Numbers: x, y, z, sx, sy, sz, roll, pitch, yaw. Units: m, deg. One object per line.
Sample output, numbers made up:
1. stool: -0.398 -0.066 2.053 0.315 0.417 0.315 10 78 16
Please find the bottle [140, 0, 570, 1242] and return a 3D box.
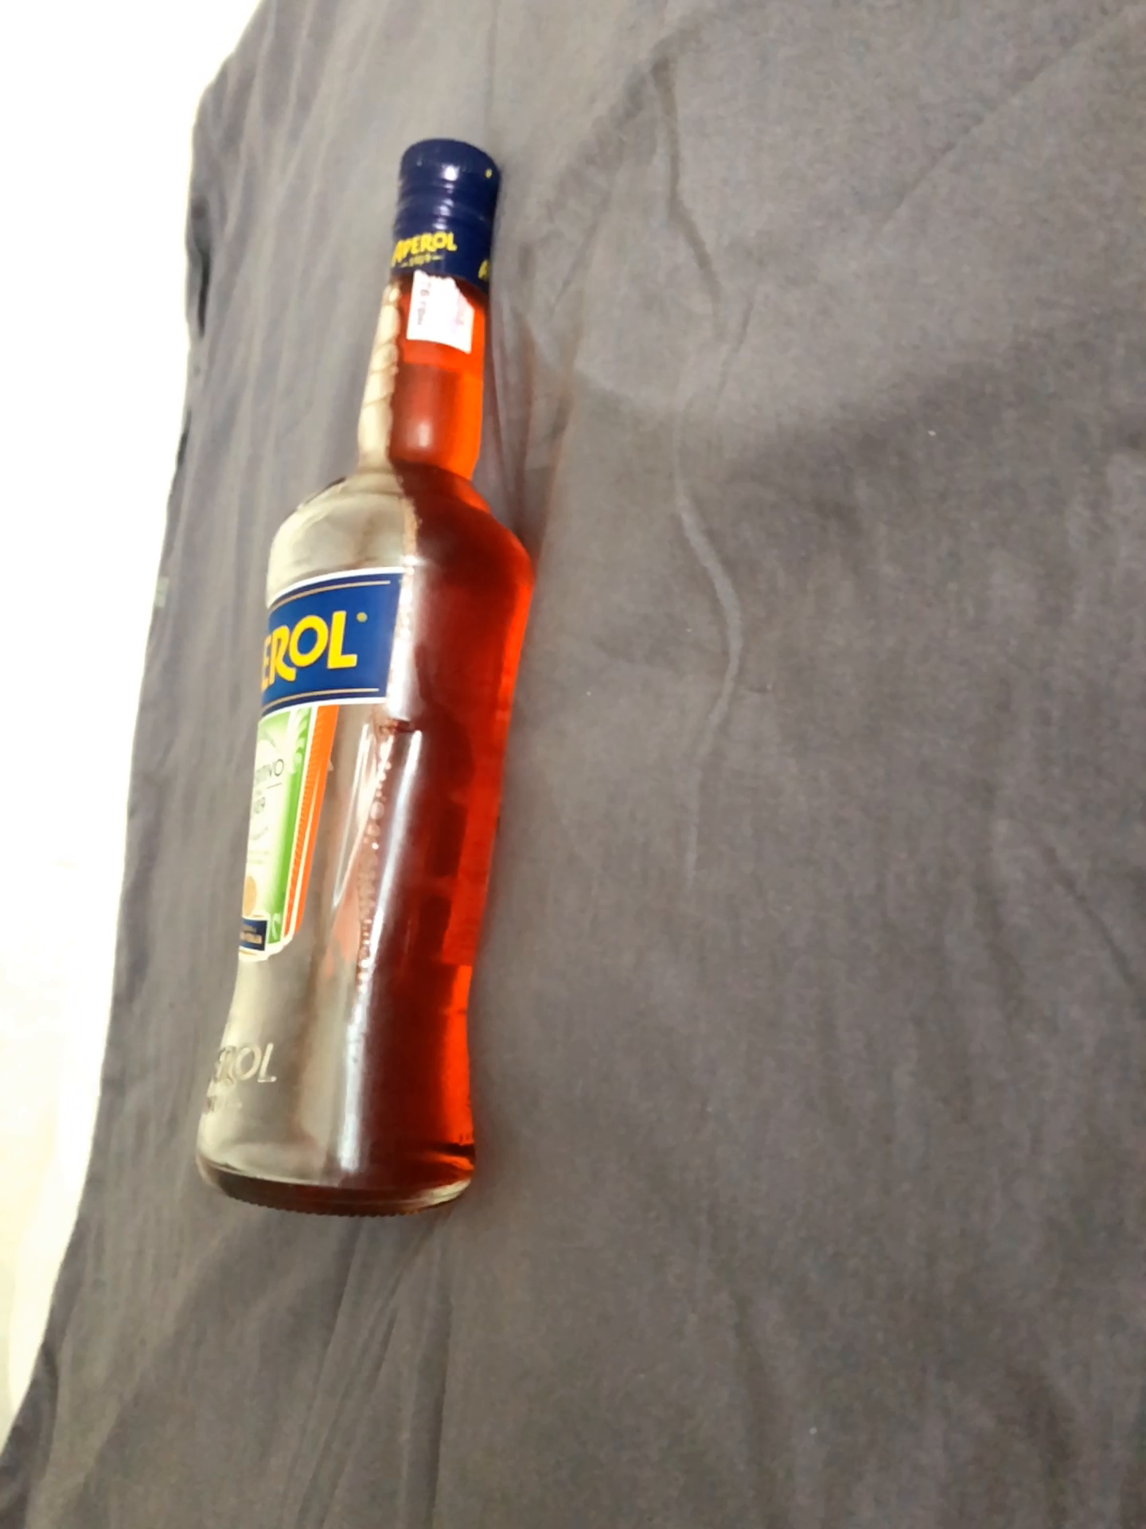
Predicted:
1. bottle: -0.067 -0.040 0.374 0.101 0.070 0.320 173 103 -65
